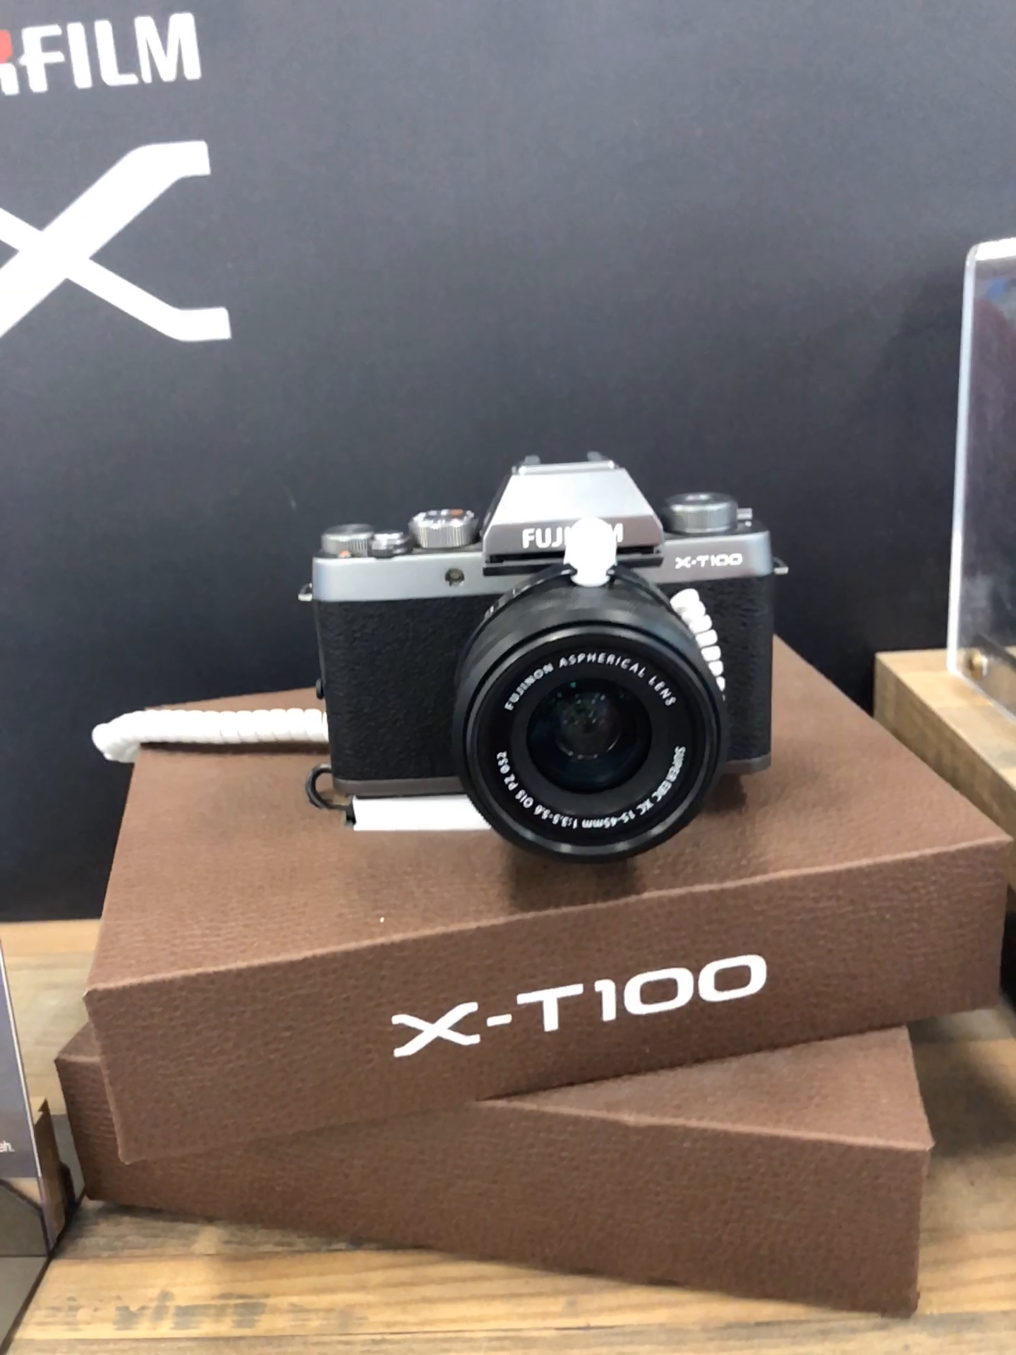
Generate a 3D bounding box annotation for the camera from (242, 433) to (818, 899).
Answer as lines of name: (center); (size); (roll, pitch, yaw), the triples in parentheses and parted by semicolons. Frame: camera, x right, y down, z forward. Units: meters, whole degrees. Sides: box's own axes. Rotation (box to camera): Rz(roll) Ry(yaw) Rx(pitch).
camera: (0.008, -0.008, 0.294); (0.120, 0.090, 0.090); (-3, 18, 2)
